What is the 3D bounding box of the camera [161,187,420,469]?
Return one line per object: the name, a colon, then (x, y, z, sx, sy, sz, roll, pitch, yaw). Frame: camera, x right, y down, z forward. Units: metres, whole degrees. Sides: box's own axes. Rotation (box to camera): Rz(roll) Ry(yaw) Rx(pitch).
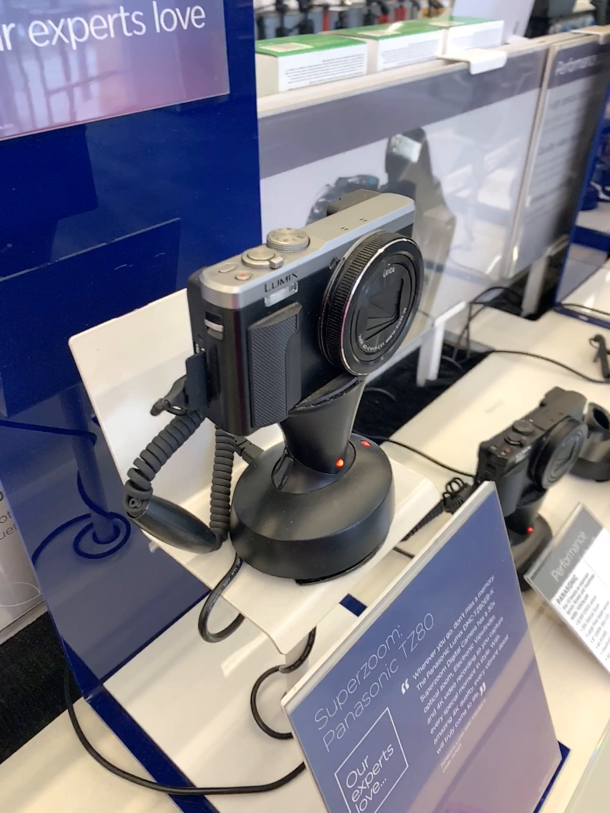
camera: (0.000, -0.036, 0.248, 0.030, 0.069, 0.111, 25, 42, 31)
